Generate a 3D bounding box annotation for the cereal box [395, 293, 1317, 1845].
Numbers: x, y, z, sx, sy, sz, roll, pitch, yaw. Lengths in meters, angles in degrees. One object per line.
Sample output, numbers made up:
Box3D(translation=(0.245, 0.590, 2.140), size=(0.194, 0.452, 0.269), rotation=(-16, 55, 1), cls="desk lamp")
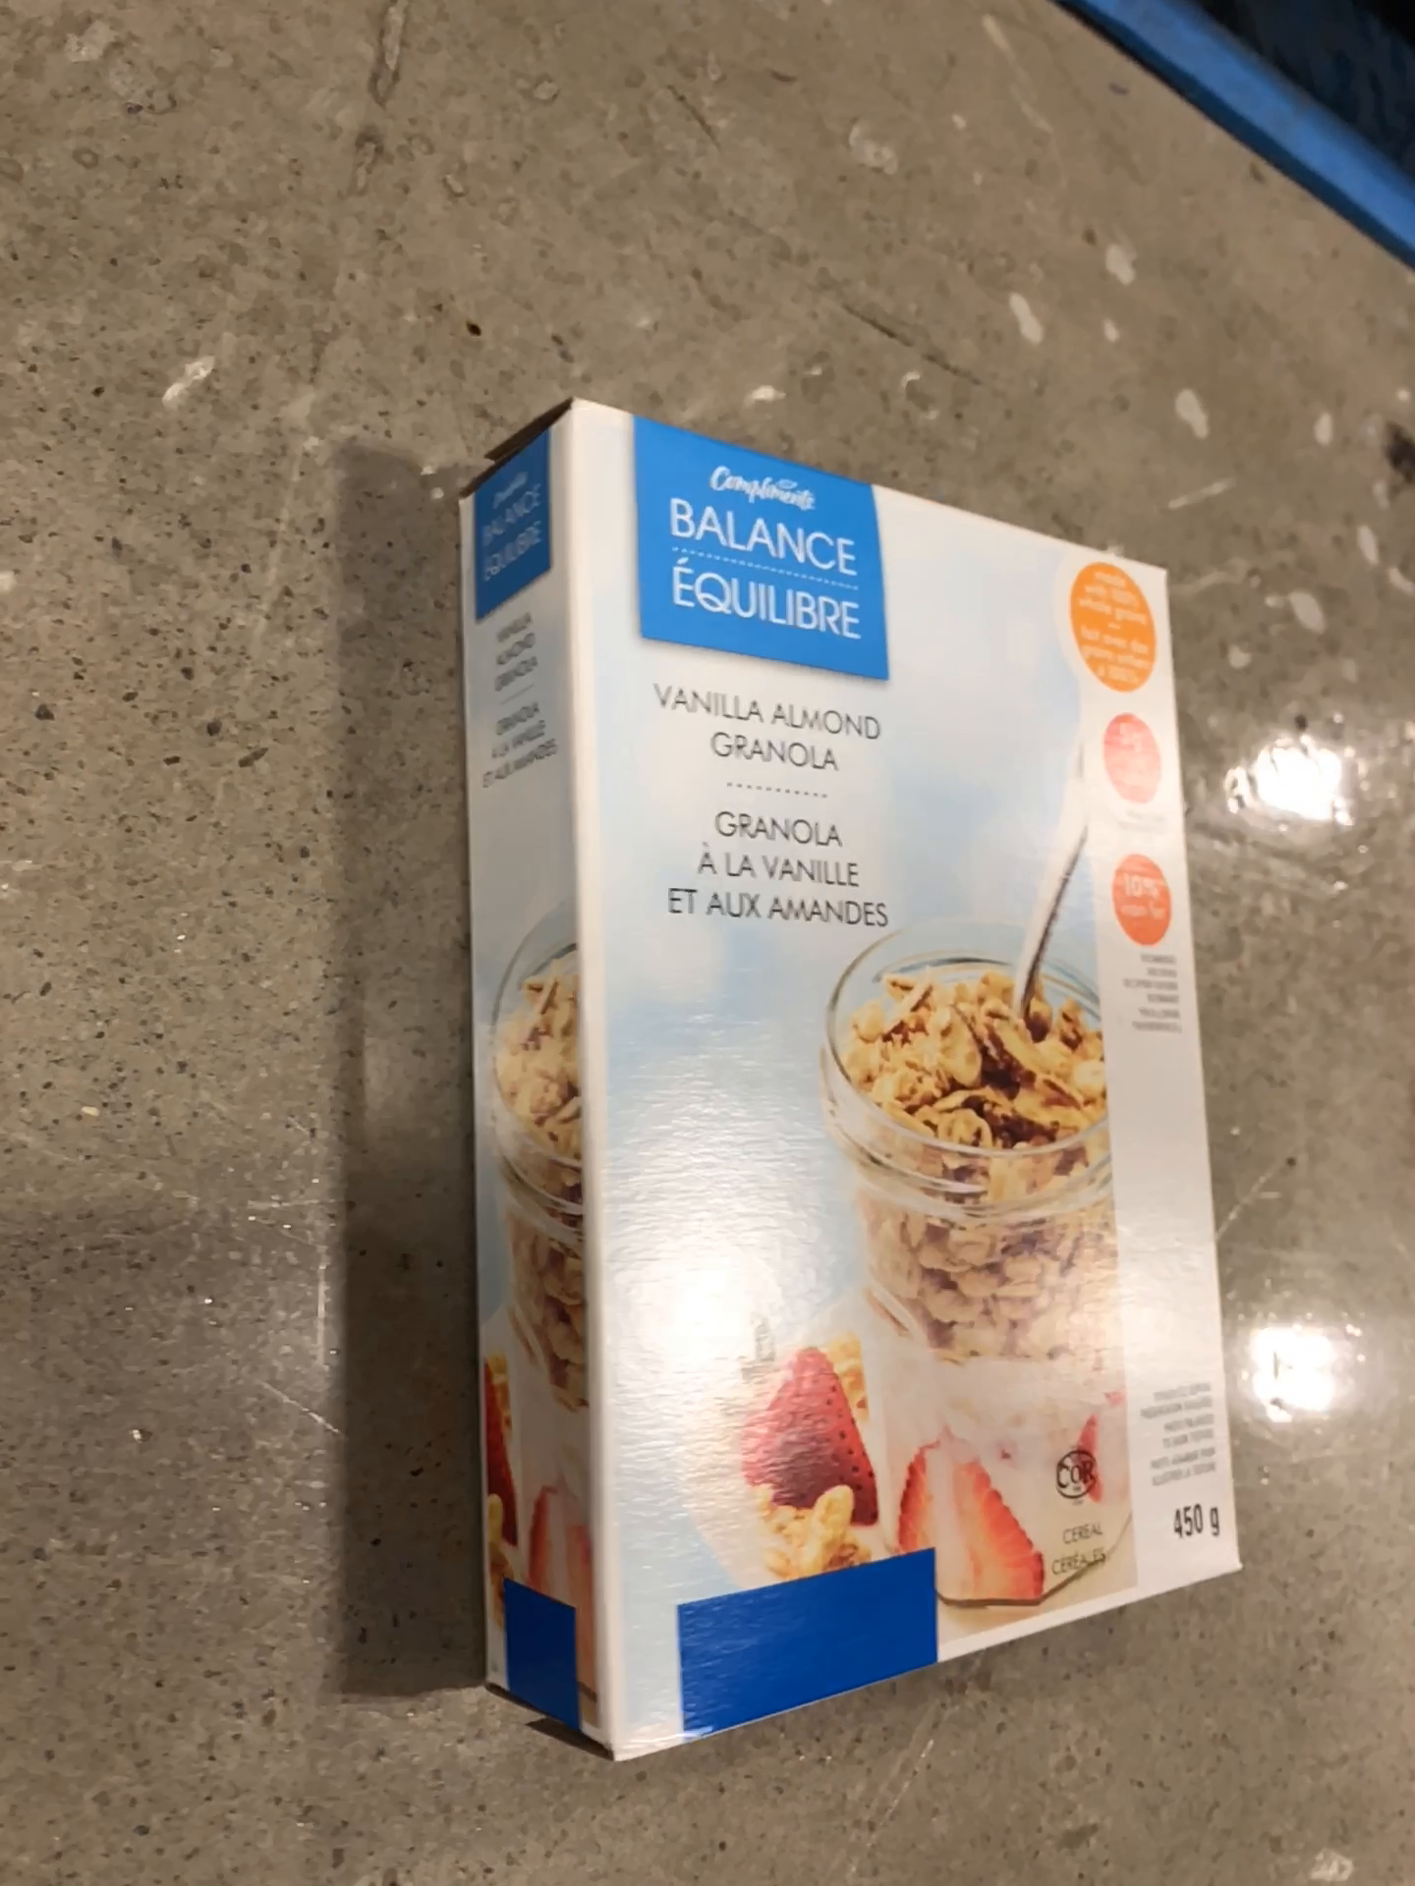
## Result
Box3D(translation=(0.036, 0.020, 0.321), size=(0.191, 0.050, 0.240), rotation=(3, 82, -35), cls="cereal box")
